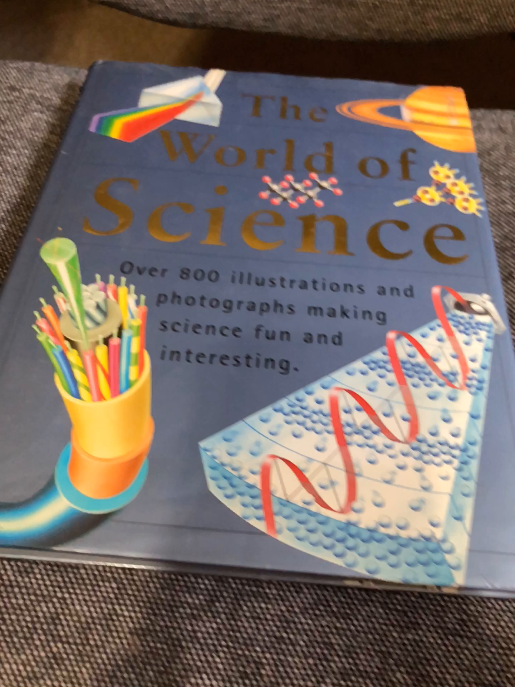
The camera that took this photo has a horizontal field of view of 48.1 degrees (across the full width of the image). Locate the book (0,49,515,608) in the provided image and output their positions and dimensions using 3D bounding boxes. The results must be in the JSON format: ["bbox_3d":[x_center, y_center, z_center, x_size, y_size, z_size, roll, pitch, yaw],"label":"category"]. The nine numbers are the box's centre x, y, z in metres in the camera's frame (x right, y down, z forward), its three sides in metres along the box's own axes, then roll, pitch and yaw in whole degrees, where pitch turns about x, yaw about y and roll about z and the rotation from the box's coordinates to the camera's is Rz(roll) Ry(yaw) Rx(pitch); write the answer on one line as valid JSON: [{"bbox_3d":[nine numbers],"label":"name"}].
[{"bbox_3d":[-0.004,-0.036,0.271,0.220,0.030,0.277,4,58,0],"label":"book"}]
